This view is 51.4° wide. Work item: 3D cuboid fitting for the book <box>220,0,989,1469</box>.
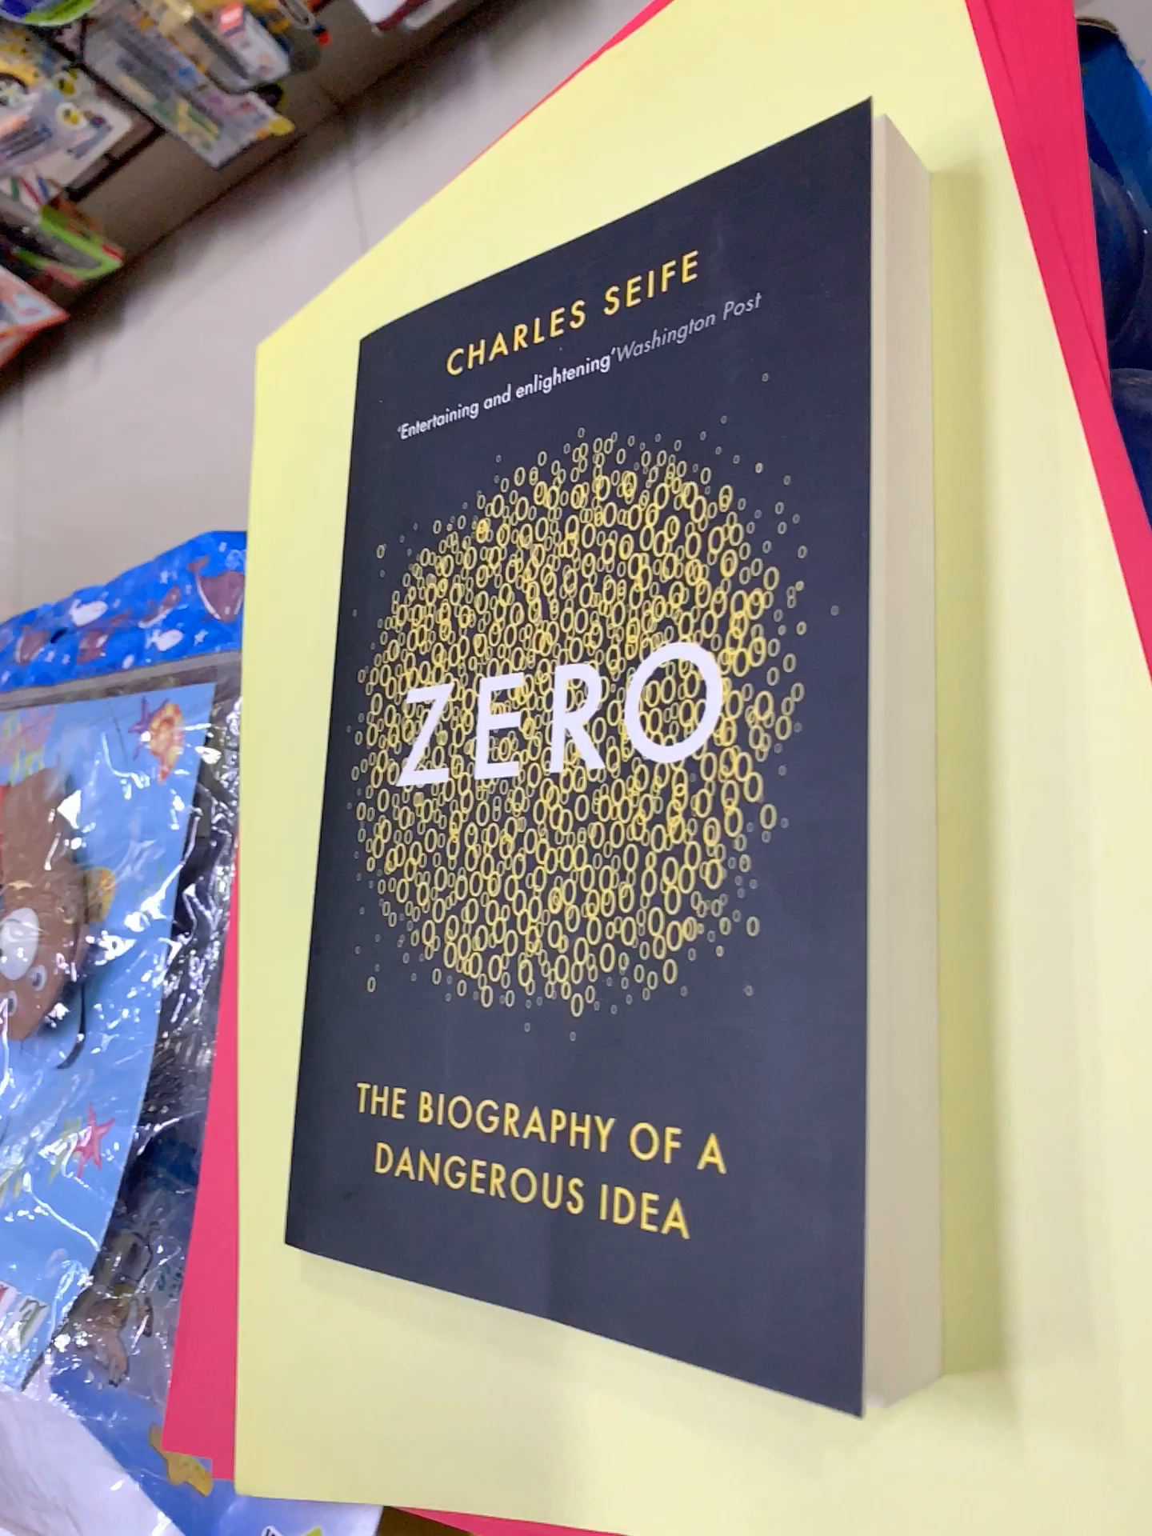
[{"bbox_3d":[0.000,-0.008,0.214,0.131,0.040,0.200,-5,78,39],"label":"book"}]
